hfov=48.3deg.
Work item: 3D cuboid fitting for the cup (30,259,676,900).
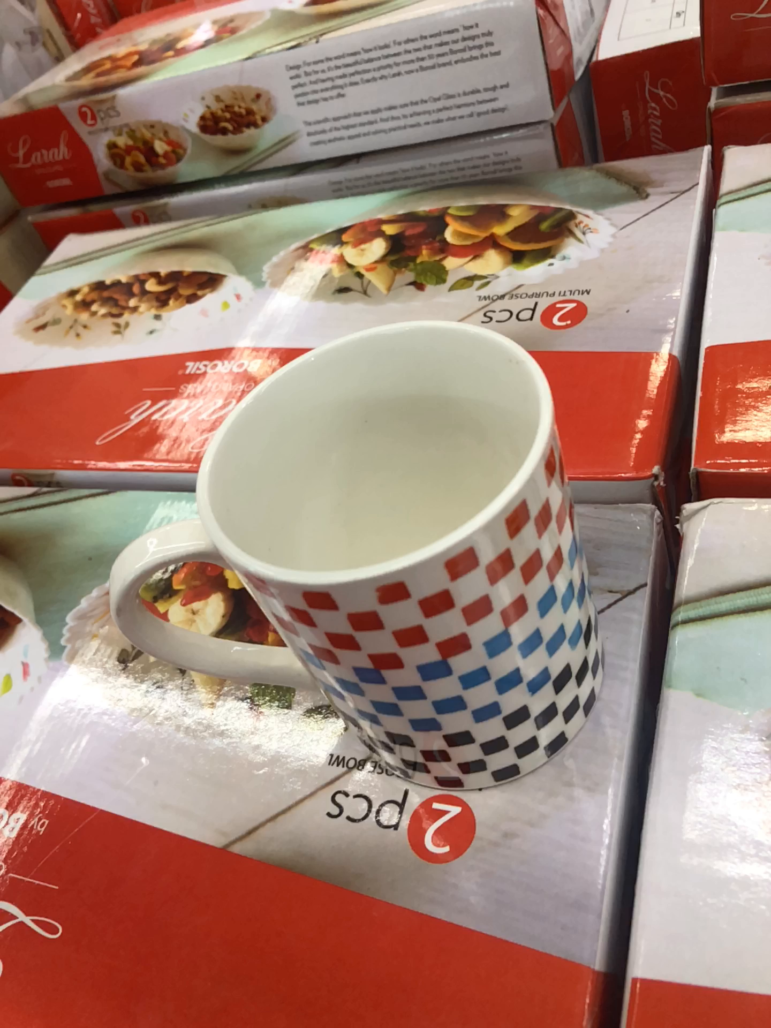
[{"bbox_3d":[-0.007,0.016,0.218,0.120,0.089,0.091,-22,43,1],"label":"cup"}]
